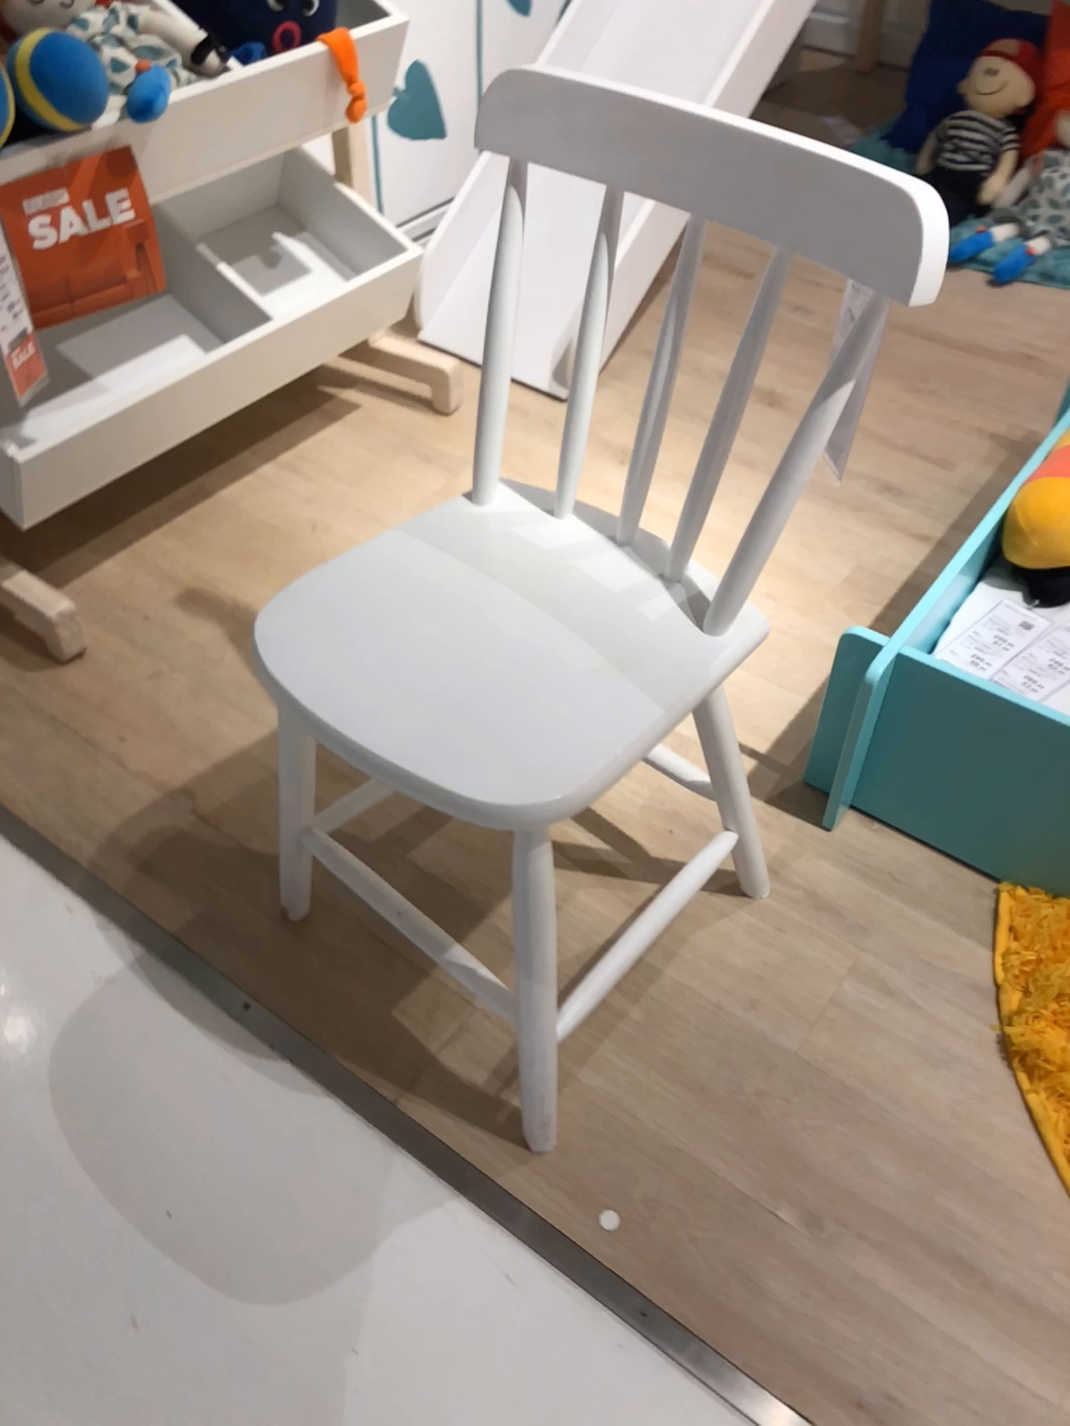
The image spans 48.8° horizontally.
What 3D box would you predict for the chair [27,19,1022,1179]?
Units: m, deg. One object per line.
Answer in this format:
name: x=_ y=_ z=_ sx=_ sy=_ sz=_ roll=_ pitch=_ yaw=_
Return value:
chair: x=-0.005 y=-0.072 z=0.996 sx=0.441 sy=0.755 sz=0.432 roll=33 pitch=54 yaw=28
